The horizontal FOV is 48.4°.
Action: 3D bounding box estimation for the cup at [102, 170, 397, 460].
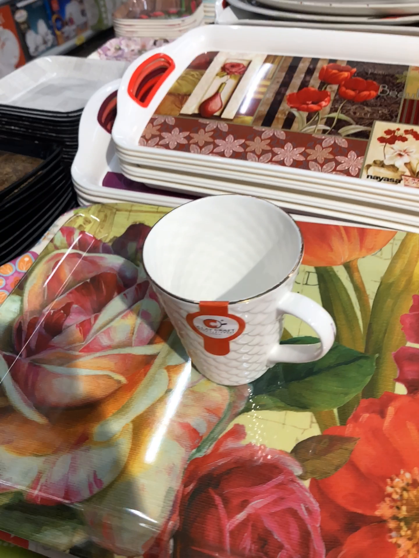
[{"bbox_3d":[0.024,0.013,0.276,0.120,0.089,0.101,25,51,27],"label":"cup"}]
